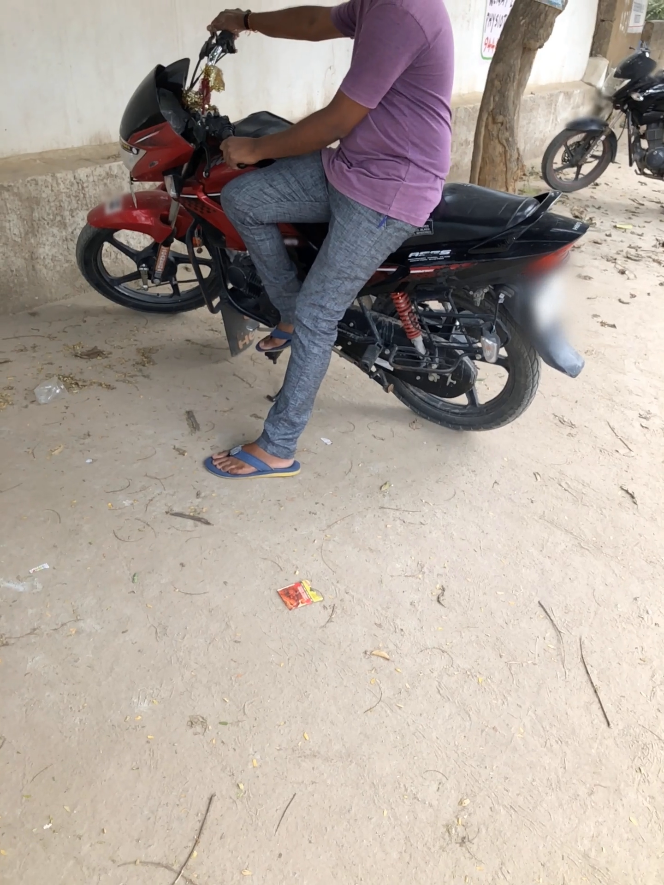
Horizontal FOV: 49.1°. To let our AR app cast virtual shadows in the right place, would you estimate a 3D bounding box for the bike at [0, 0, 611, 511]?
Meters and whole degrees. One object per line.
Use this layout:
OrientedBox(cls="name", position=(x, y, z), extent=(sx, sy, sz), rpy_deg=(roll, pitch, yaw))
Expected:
OrientedBox(cls="bike", position=(-0.201, -0.730, 2.135), extent=(1.697, 1.086, 0.745), rpy_deg=(17, 34, 14))
